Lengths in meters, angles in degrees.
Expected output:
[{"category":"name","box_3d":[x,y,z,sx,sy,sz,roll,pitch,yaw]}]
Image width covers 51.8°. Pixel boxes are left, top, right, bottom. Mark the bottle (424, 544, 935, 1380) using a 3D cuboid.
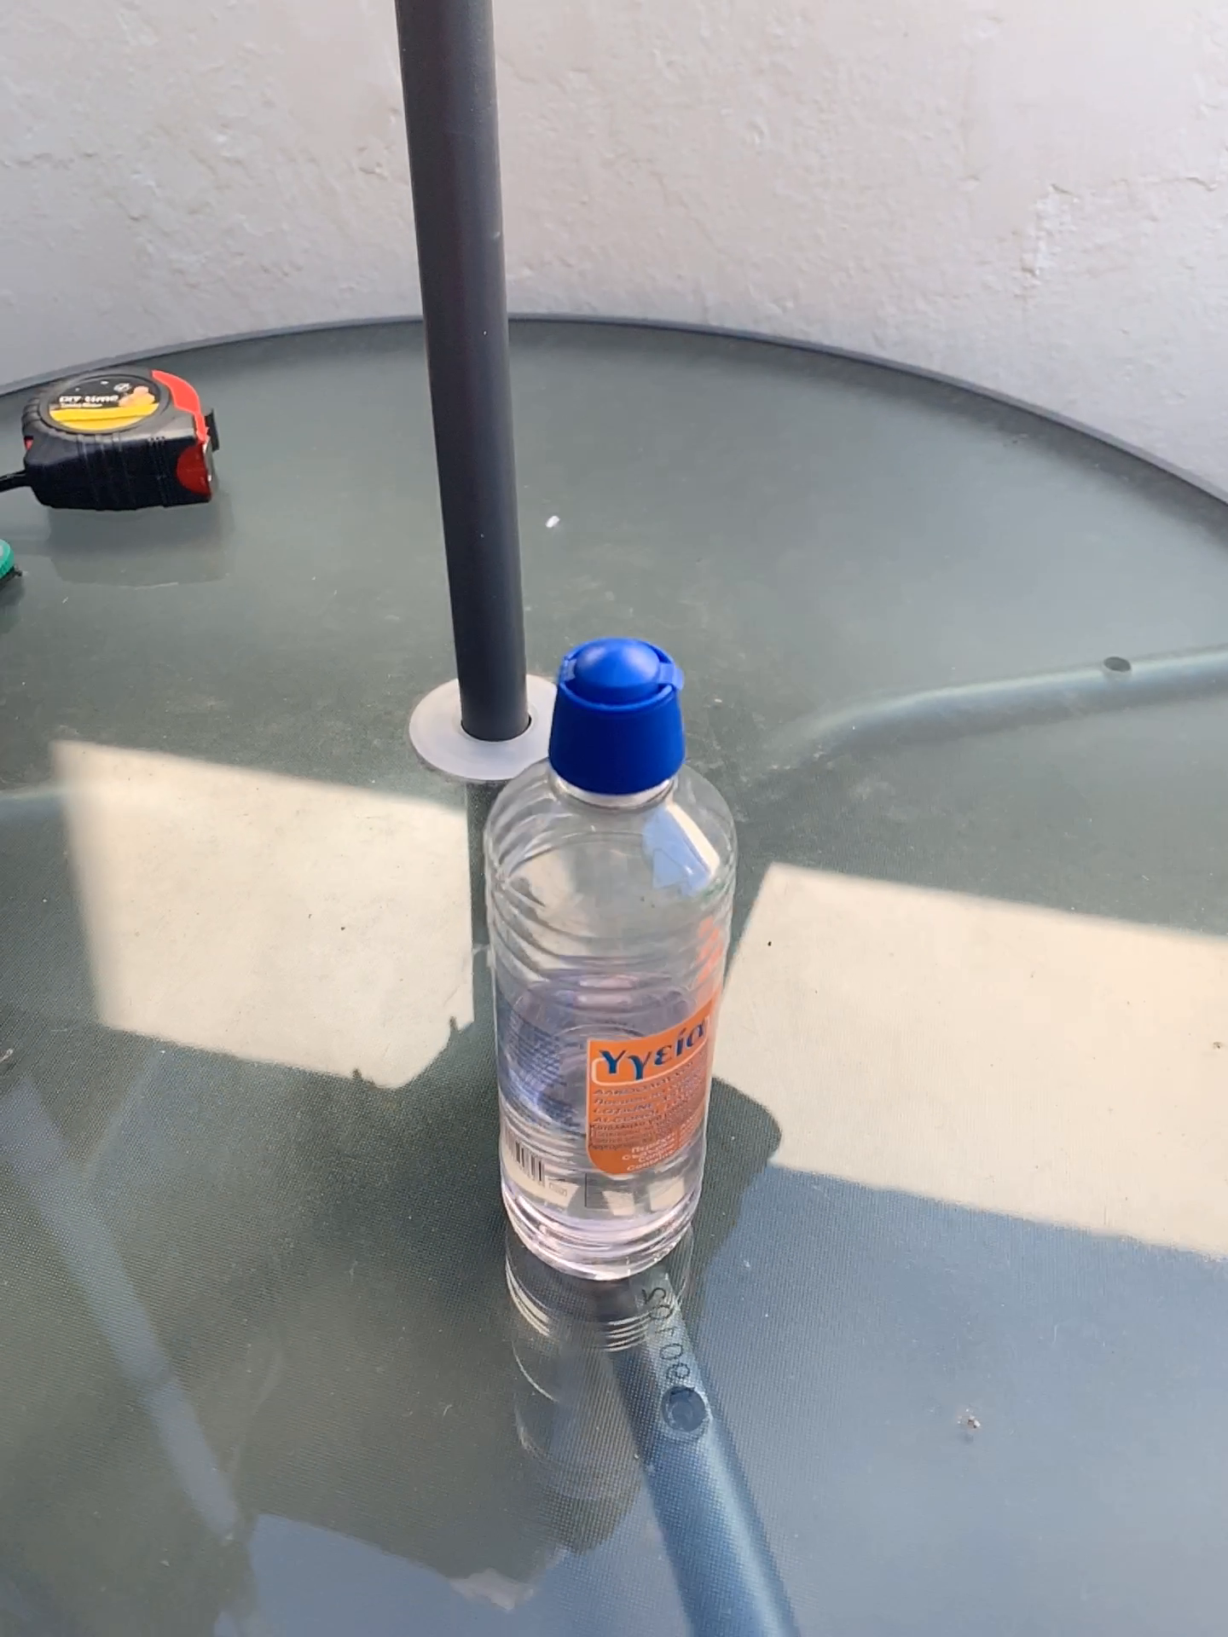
[{"category":"bottle","box_3d":[0.009,0.036,0.260,0.060,0.158,0.060,1,40,-1]}]
